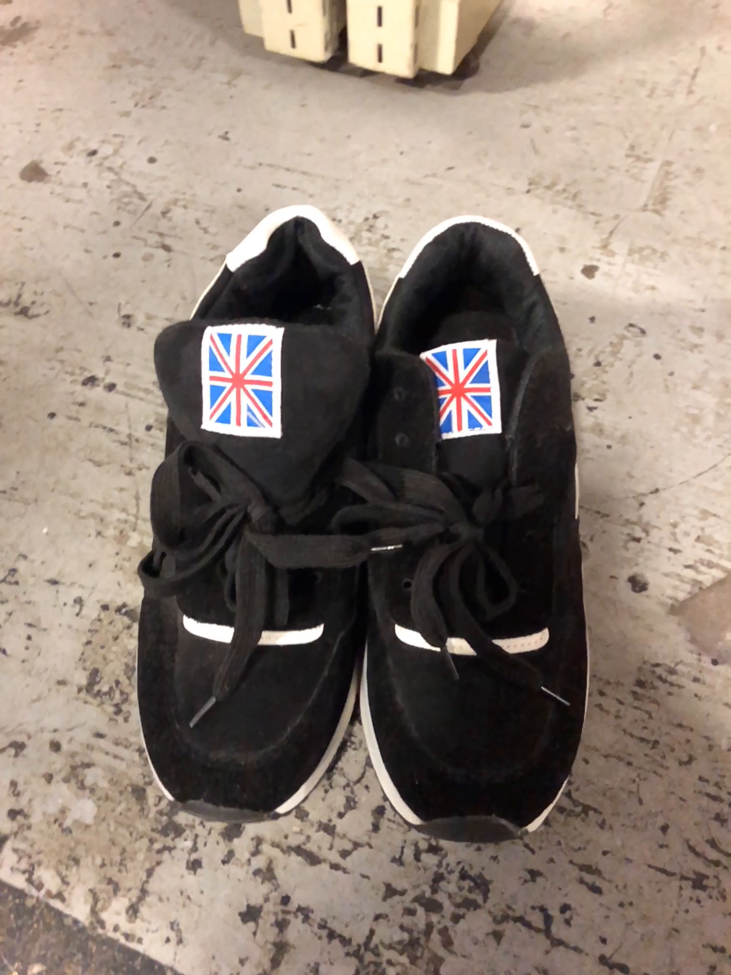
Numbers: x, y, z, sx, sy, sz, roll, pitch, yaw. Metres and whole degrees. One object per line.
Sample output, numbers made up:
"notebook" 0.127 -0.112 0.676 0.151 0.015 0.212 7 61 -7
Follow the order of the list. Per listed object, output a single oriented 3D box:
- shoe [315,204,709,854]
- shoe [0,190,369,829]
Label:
"shoe" 0.051 0.010 0.336 0.110 0.109 0.241 3 59 3
"shoe" -0.058 0.005 0.335 0.100 0.119 0.231 3 59 3
